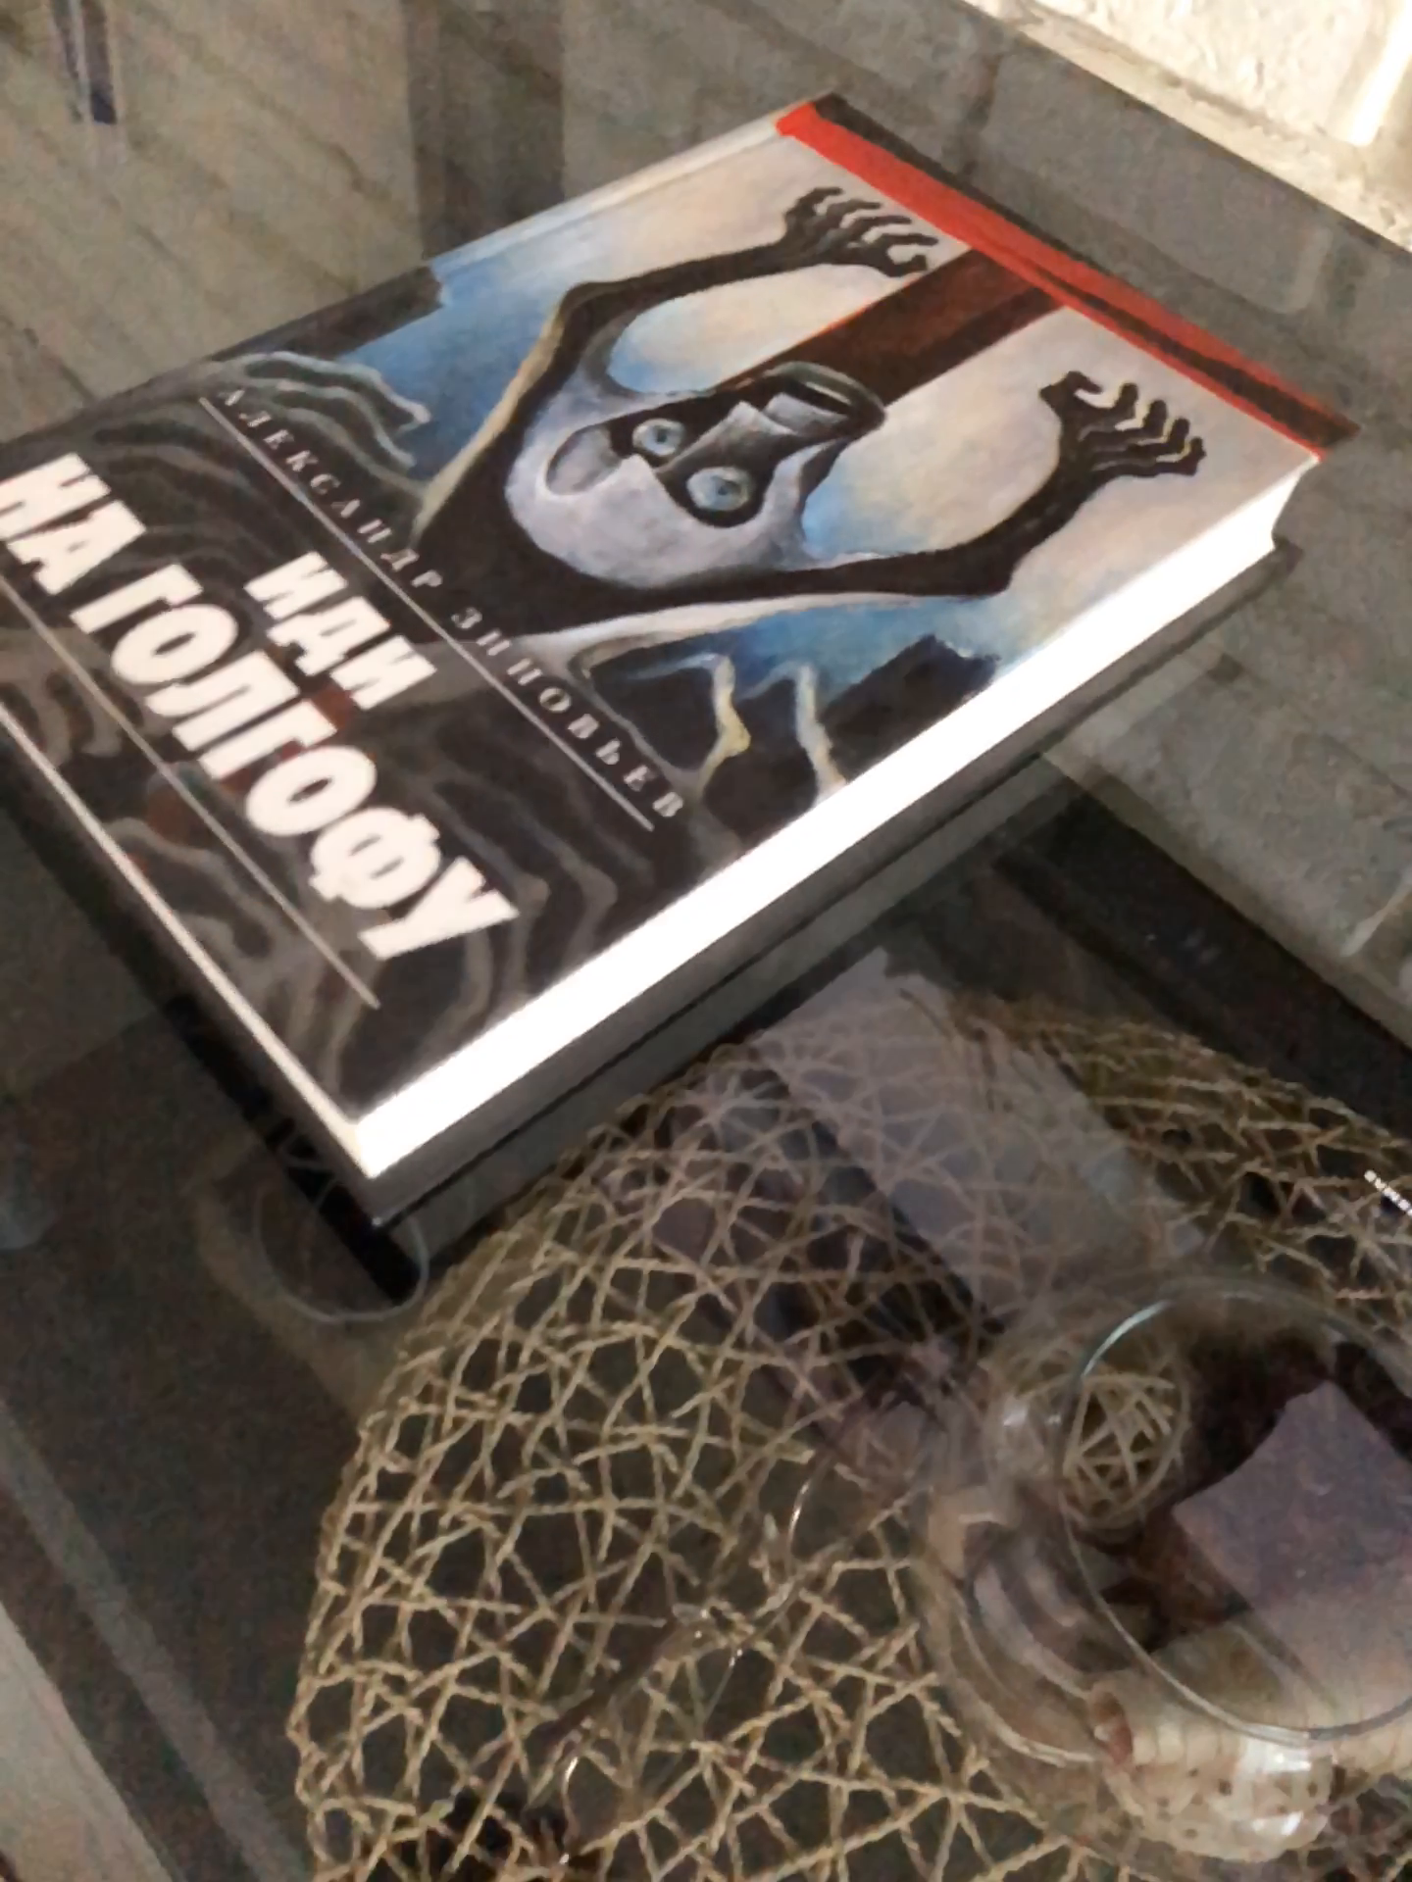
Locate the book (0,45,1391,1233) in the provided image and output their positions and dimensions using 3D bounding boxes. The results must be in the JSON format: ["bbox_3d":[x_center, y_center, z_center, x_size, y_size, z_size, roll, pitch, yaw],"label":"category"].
[{"bbox_3d":[-0.014,-0.070,0.243,0.201,0.030,0.140,-33,64,-25],"label":"book"}]
